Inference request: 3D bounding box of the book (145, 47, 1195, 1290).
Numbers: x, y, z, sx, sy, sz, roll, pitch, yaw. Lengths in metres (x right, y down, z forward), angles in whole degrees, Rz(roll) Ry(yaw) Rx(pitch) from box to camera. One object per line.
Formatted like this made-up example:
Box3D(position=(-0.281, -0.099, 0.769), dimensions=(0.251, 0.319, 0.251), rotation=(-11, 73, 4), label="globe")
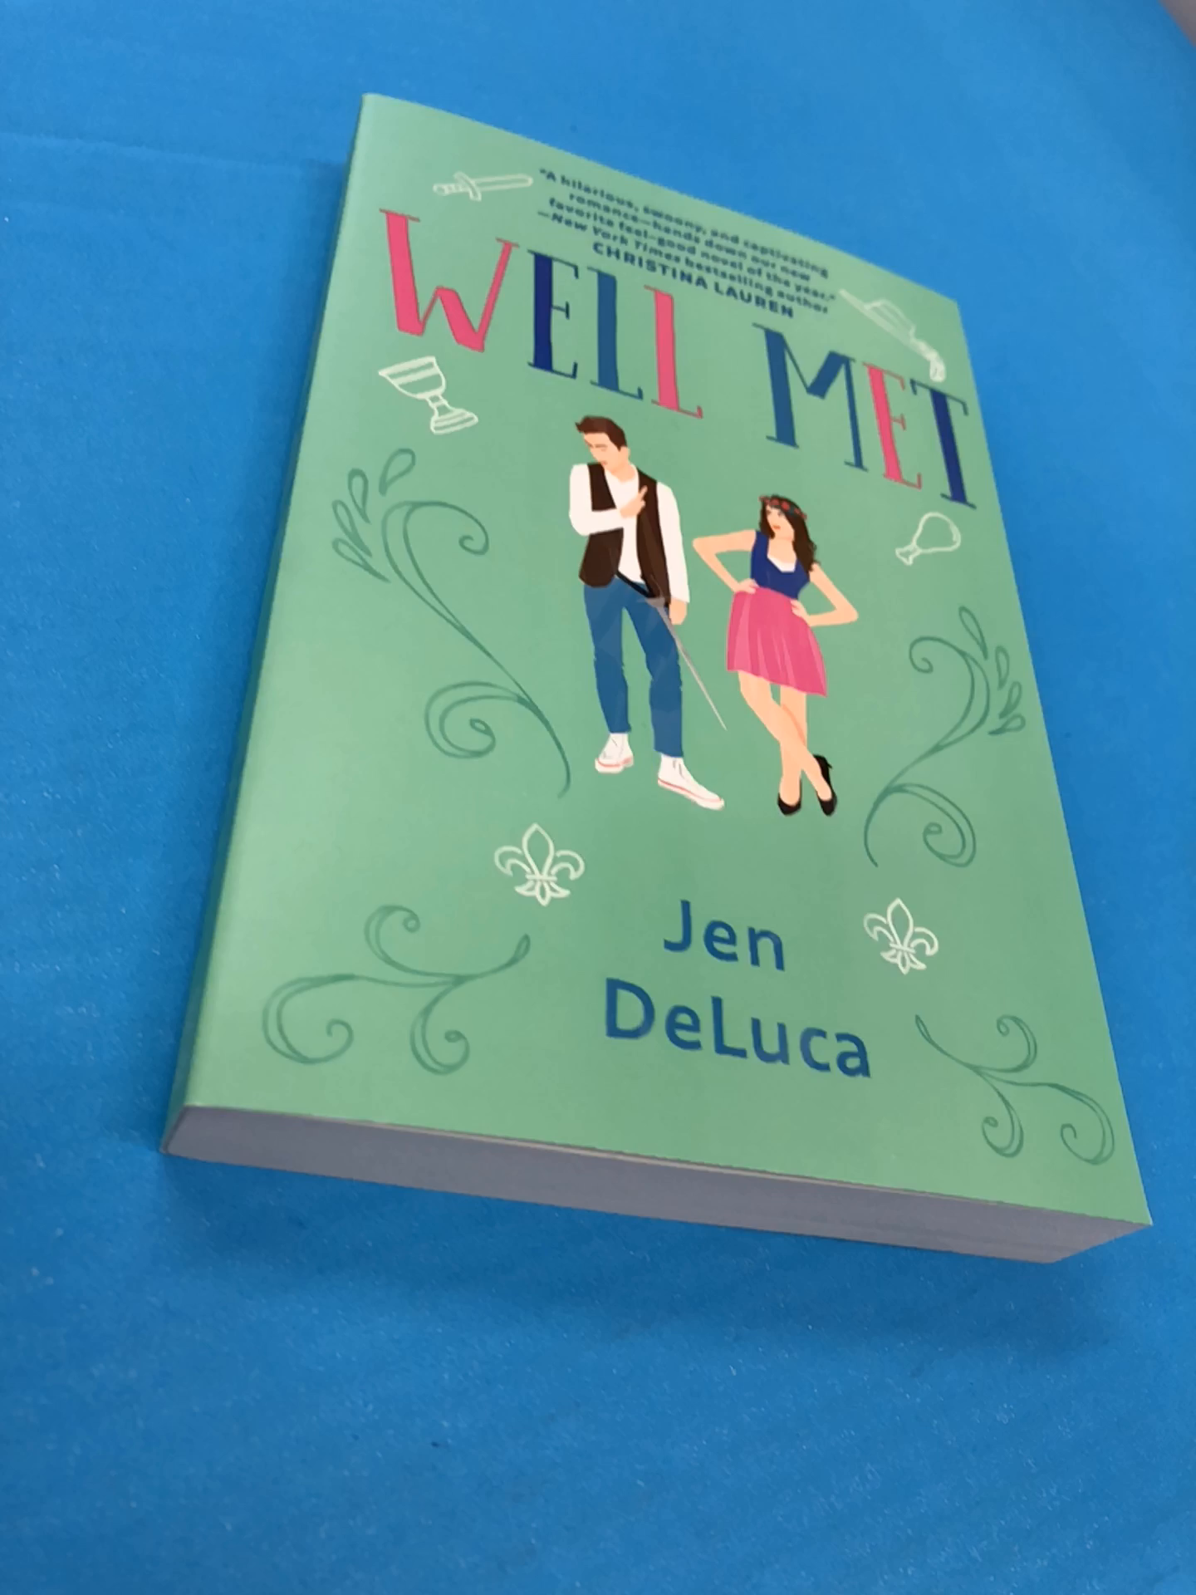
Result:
Box3D(position=(0.016, -0.034, 0.241), dimensions=(0.146, 0.030, 0.216), rotation=(13, 55, -18), label="book")
